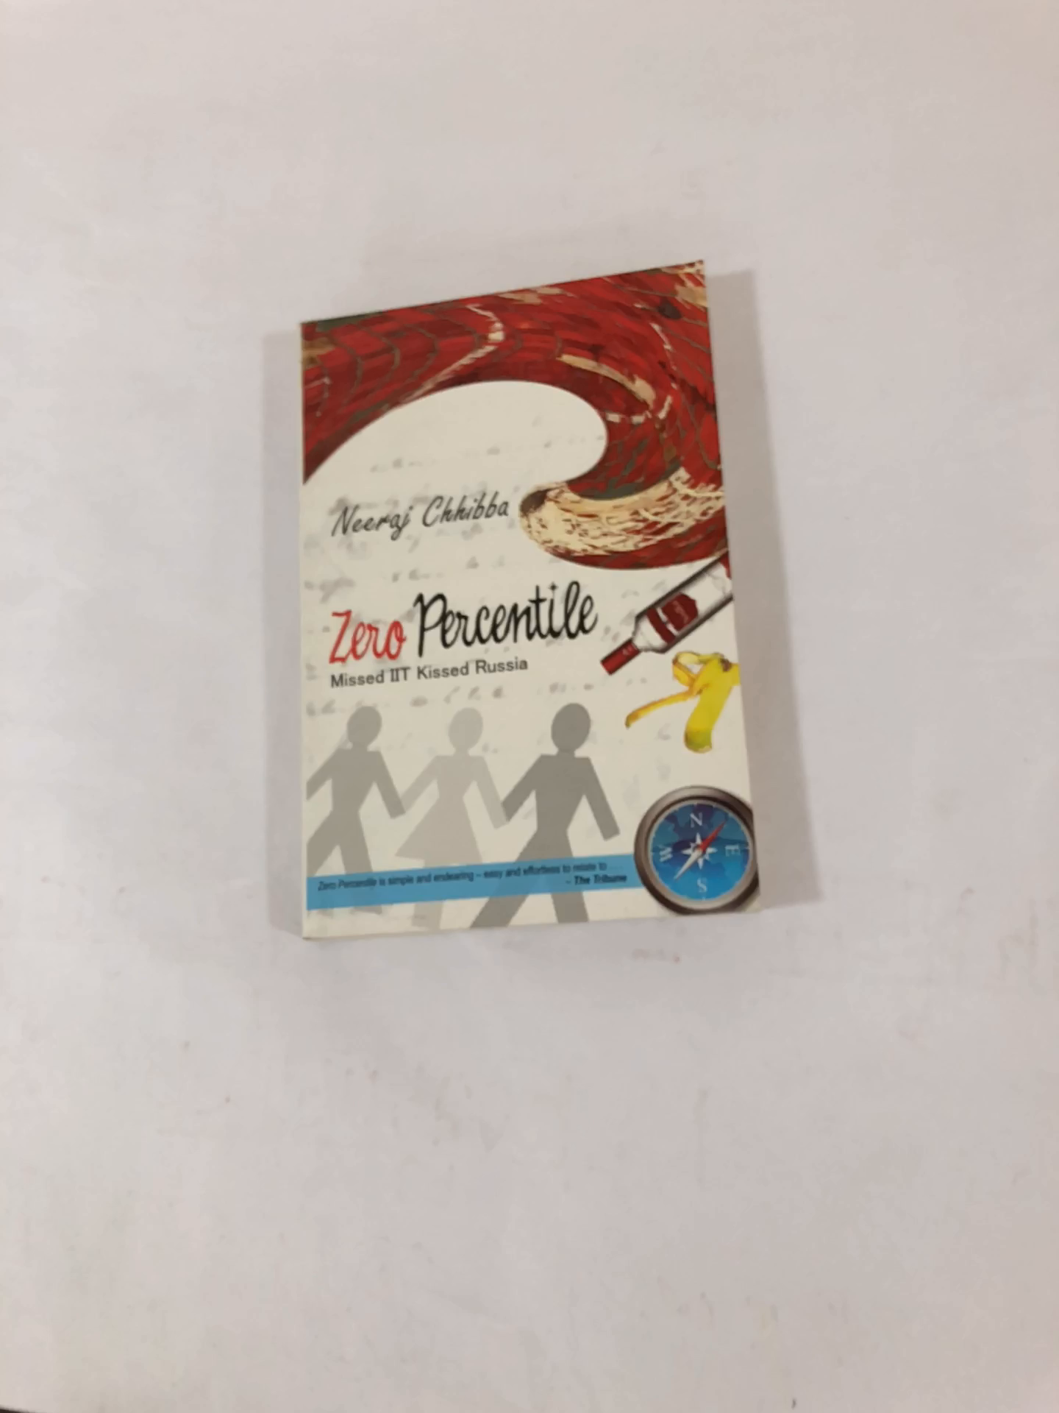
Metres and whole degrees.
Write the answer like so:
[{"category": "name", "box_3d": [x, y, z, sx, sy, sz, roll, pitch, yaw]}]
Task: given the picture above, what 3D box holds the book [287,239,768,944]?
[{"category": "book", "box_3d": [-0.006, -0.035, 0.354, 0.132, 0.021, 0.200, -5, 76, 10]}]
